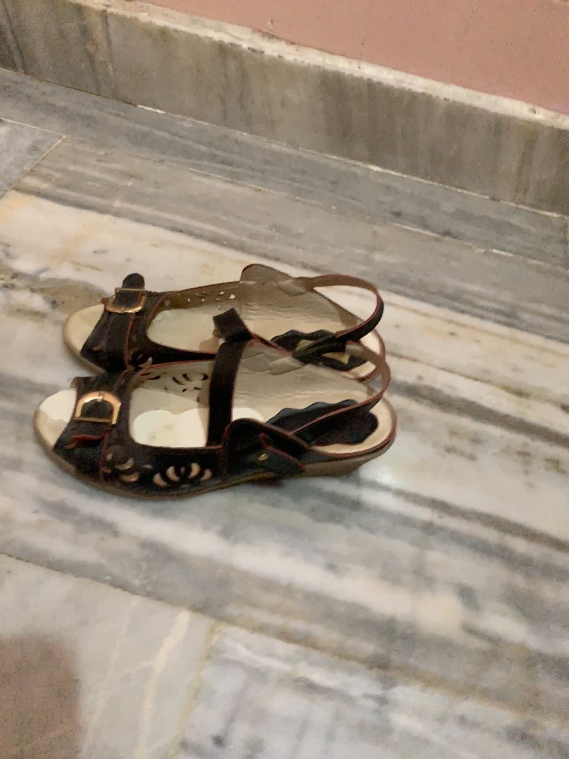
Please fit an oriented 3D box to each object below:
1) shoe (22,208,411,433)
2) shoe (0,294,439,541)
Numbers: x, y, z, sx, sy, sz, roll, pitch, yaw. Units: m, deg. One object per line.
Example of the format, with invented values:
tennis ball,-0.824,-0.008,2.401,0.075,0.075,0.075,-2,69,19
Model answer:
shoe,-0.047,-0.043,0.458,0.260,0.100,0.100,7,50,-5
shoe,-0.043,0.030,0.400,0.260,0.100,0.100,7,50,-5
